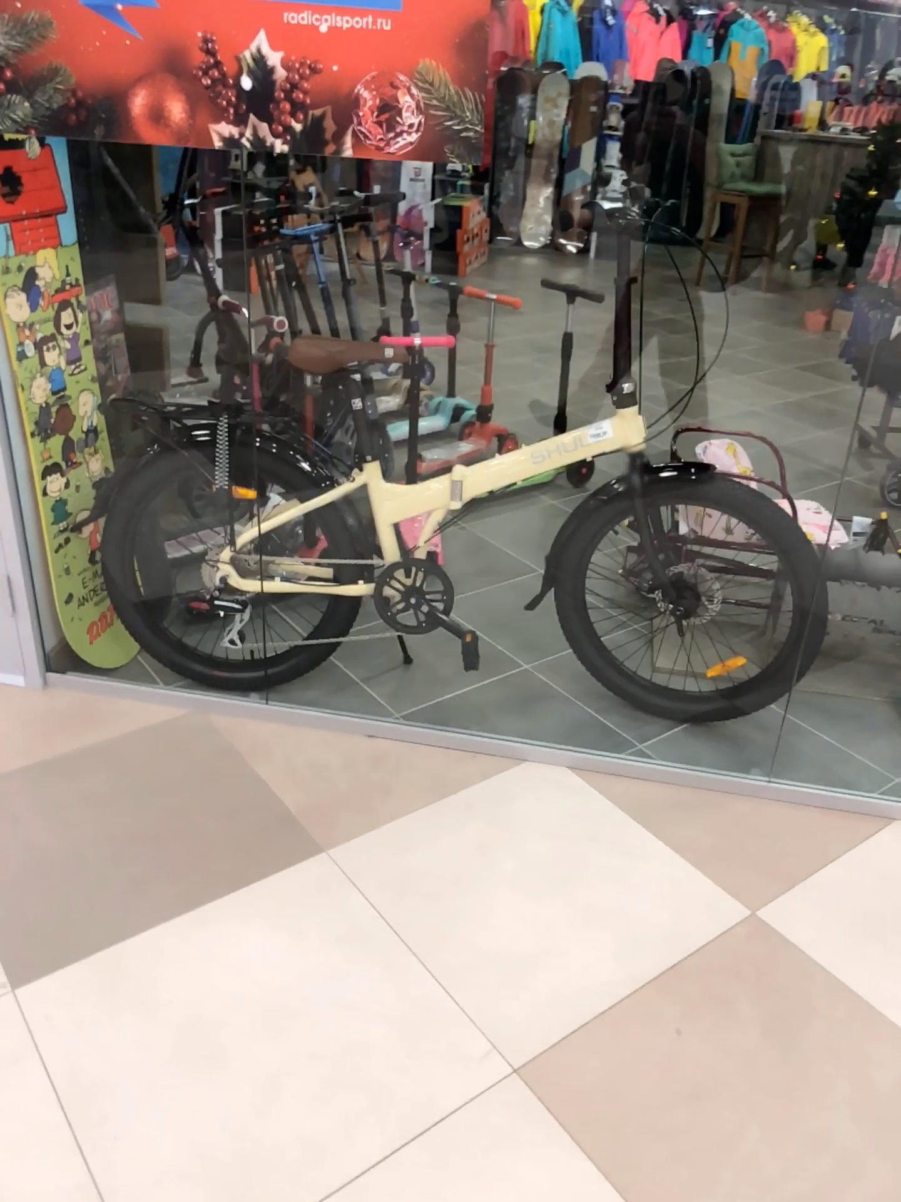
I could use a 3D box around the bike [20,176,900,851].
[{"bbox_3d":[0.028,-0.229,2.199,1.702,1.175,0.596,6,26,5],"label":"bike"}]
